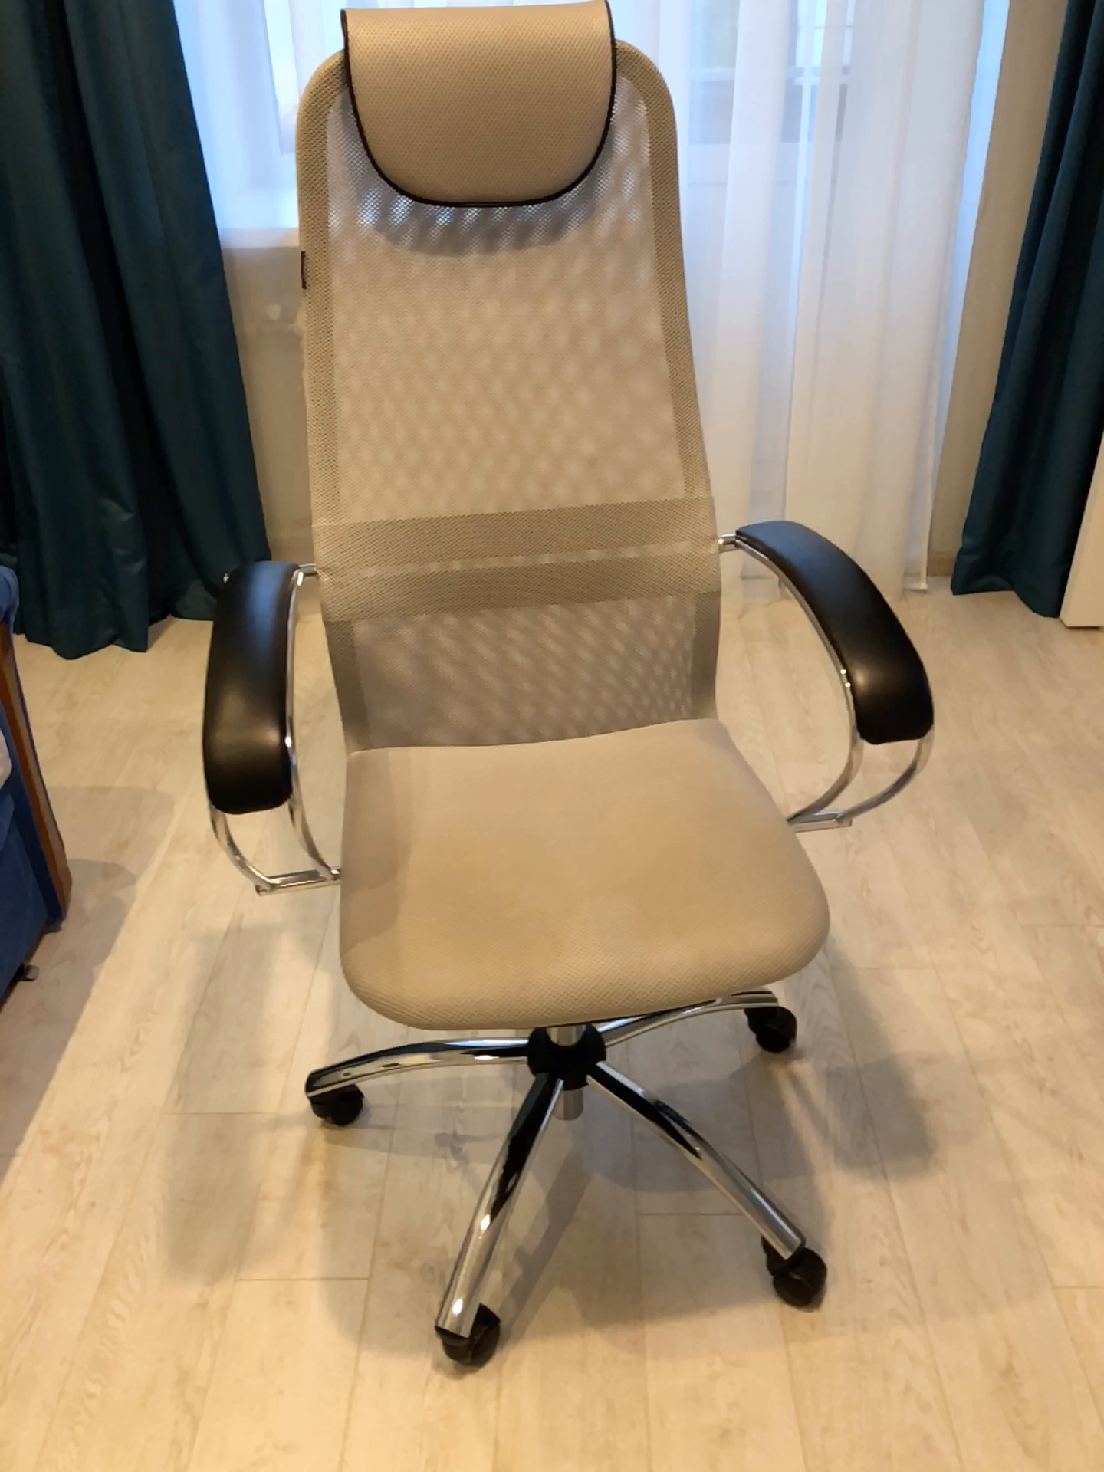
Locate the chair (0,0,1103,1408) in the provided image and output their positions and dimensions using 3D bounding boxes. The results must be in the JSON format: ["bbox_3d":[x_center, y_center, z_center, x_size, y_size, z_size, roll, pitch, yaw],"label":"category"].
[{"bbox_3d":[-0.002,-0.045,1.176,0.680,1.152,0.695,-4,30,0],"label":"chair"}]
